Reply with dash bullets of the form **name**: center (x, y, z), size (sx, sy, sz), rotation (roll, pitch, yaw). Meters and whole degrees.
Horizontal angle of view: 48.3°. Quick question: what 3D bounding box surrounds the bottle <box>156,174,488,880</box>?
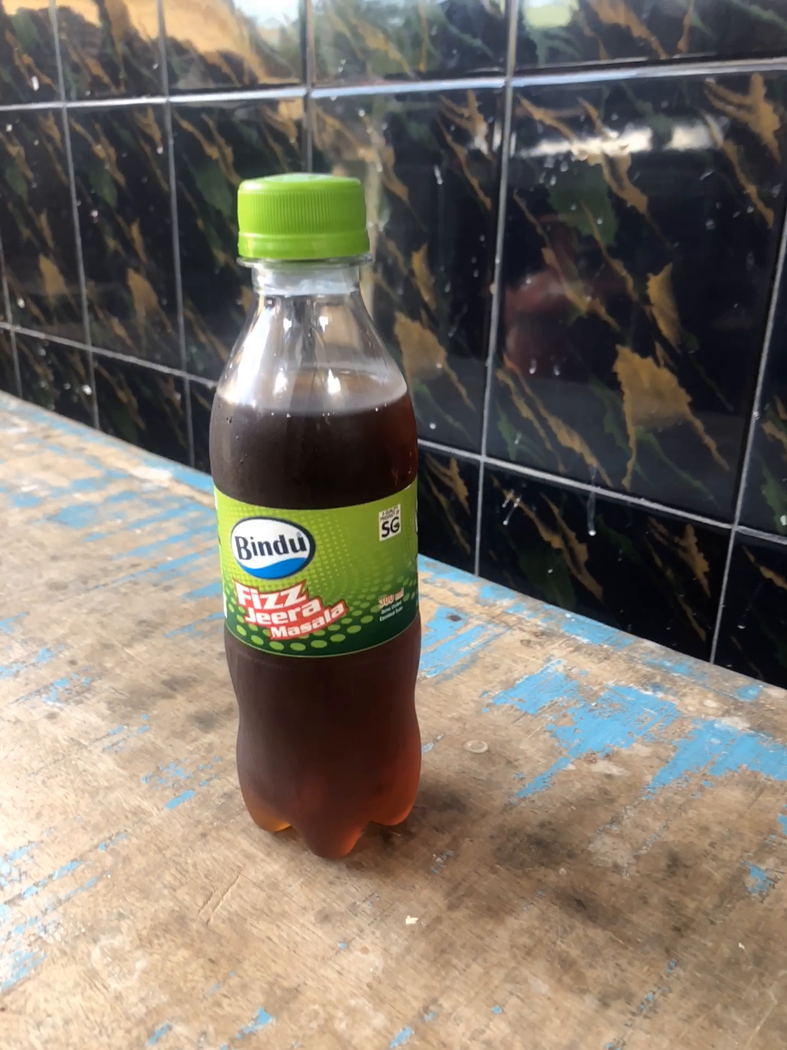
- **bottle**: center (-0.015, -0.001, 0.245), size (0.060, 0.179, 0.060), rotation (1, 21, 0)
